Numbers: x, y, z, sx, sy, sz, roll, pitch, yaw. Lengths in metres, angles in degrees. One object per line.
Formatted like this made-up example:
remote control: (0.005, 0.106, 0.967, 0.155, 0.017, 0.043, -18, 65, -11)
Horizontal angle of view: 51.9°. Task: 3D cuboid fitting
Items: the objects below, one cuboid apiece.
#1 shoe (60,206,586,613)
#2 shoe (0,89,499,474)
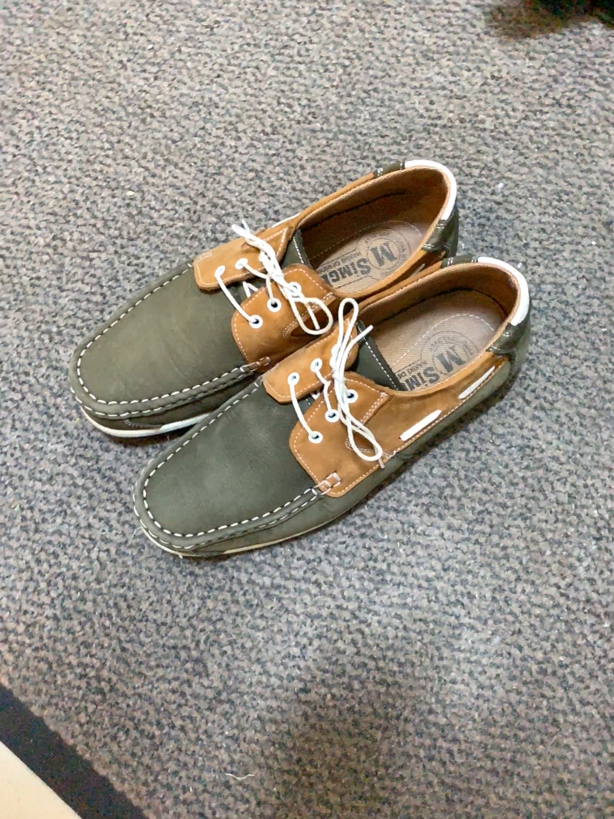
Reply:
shoe: (0.011, 0.008, 0.408, 0.270, 0.130, 0.107, -29, 77, -4)
shoe: (-0.033, -0.073, 0.424, 0.270, 0.130, 0.107, -26, 77, -4)
